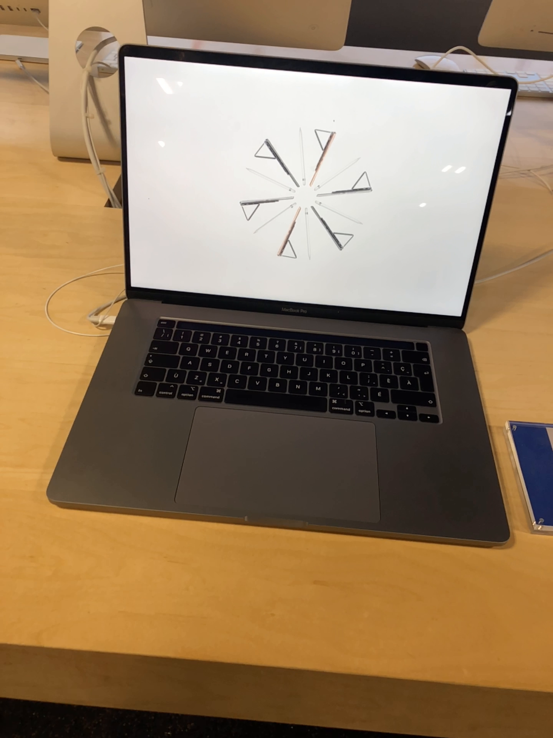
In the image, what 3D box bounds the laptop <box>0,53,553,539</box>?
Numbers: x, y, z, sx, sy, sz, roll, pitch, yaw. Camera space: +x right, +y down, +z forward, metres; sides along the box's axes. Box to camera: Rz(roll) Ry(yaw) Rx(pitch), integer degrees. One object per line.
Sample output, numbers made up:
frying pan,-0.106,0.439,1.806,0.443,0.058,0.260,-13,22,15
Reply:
laptop,0.017,-0.075,0.508,0.352,0.230,0.316,5,44,1
